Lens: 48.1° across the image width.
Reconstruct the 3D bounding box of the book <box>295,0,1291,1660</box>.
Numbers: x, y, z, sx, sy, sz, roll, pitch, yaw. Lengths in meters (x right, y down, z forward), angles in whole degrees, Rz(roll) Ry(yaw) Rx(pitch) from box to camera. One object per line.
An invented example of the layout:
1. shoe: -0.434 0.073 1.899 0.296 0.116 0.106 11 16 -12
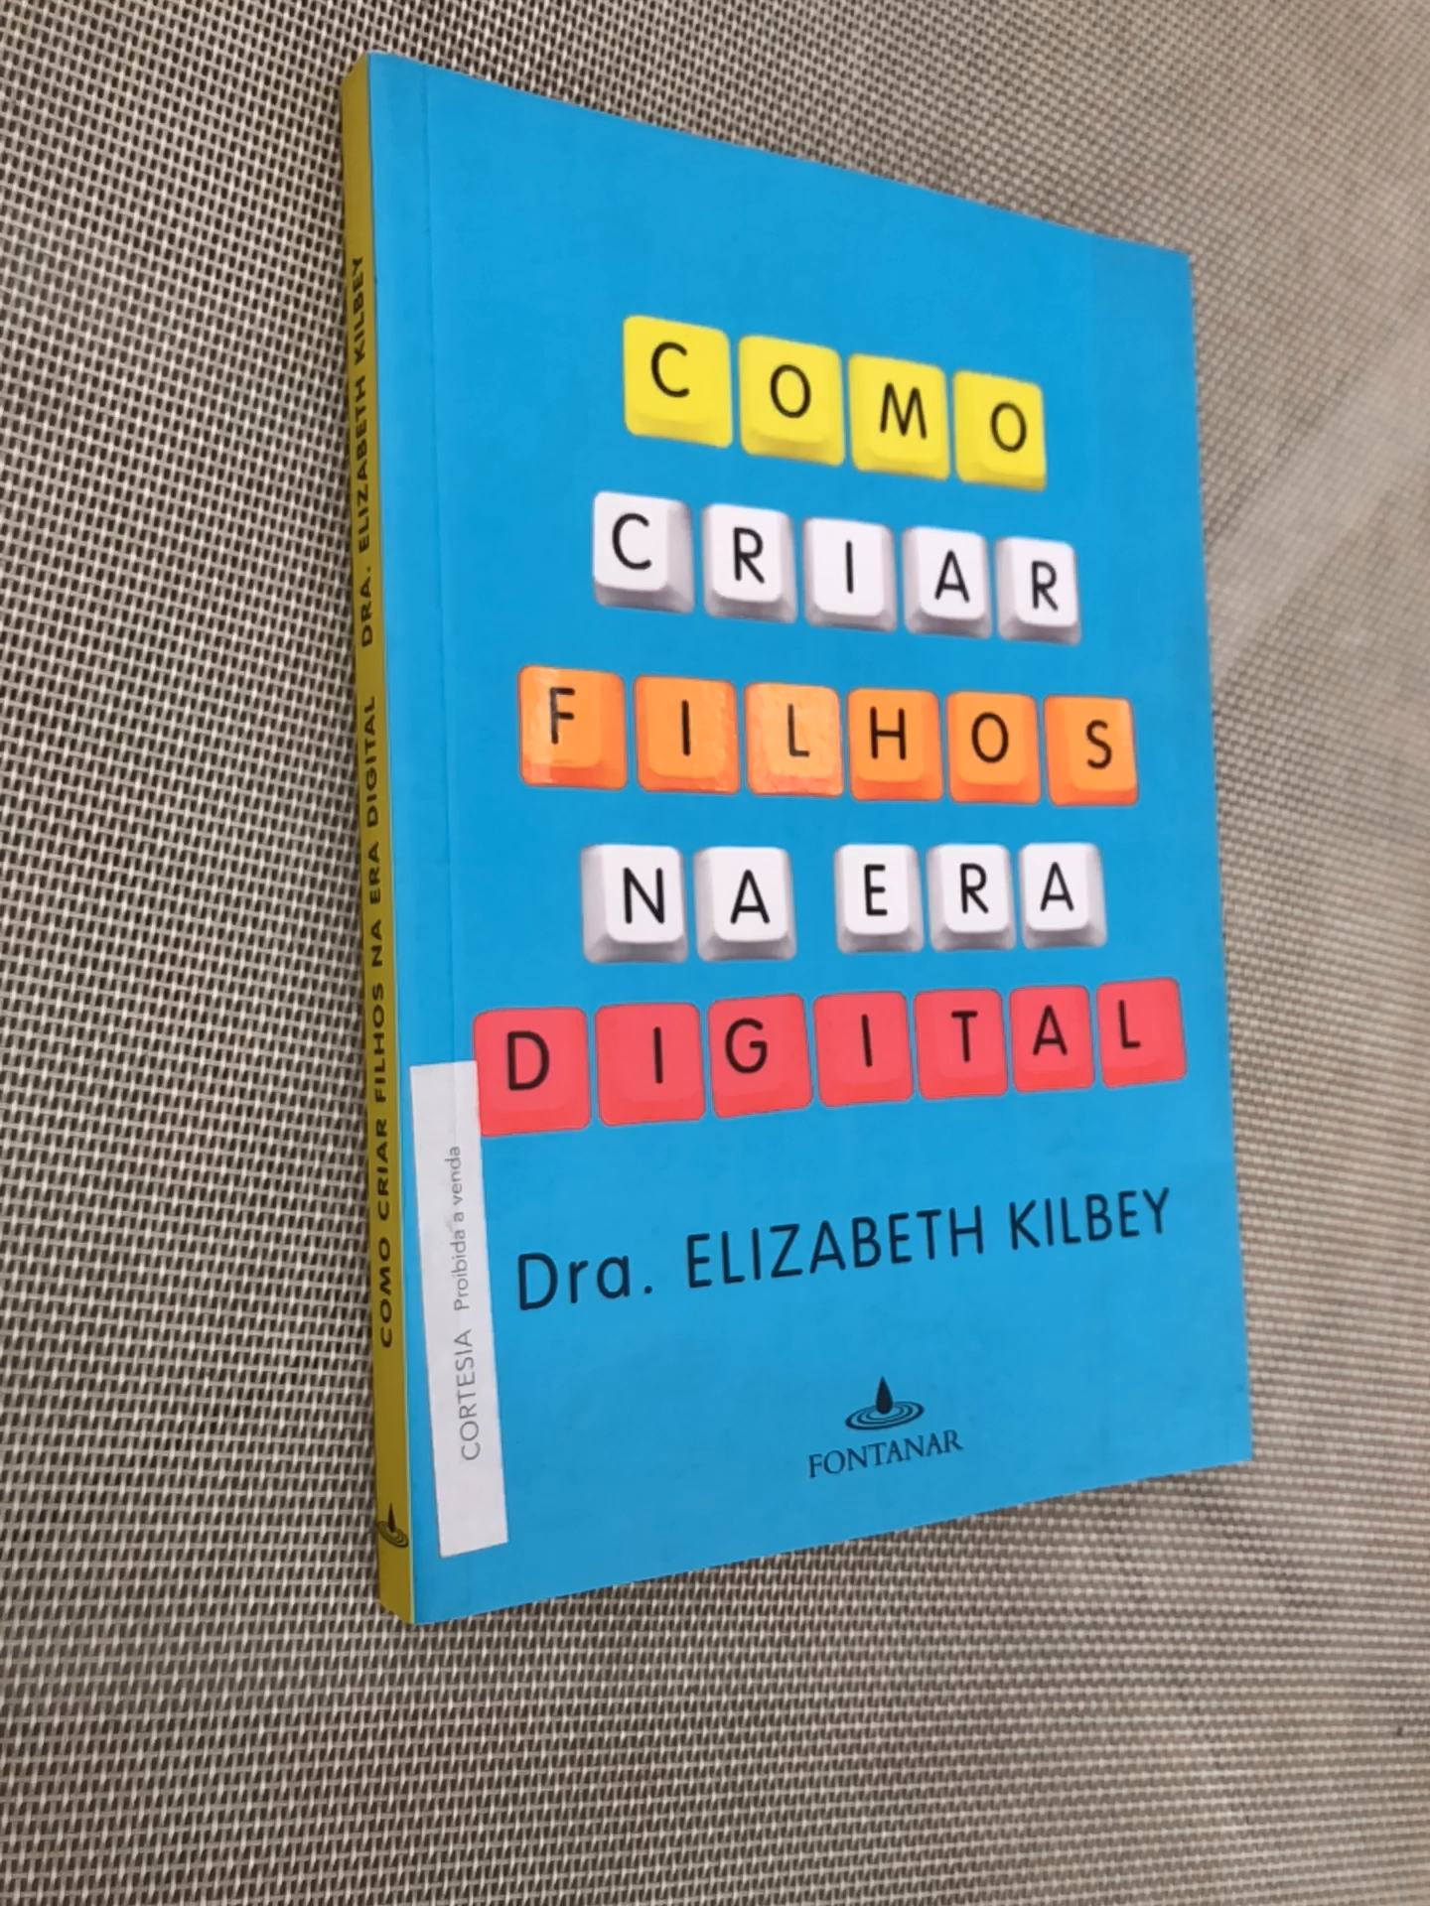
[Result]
1. book: 0.020 -0.023 0.261 0.163 0.020 0.228 -1 86 -28
